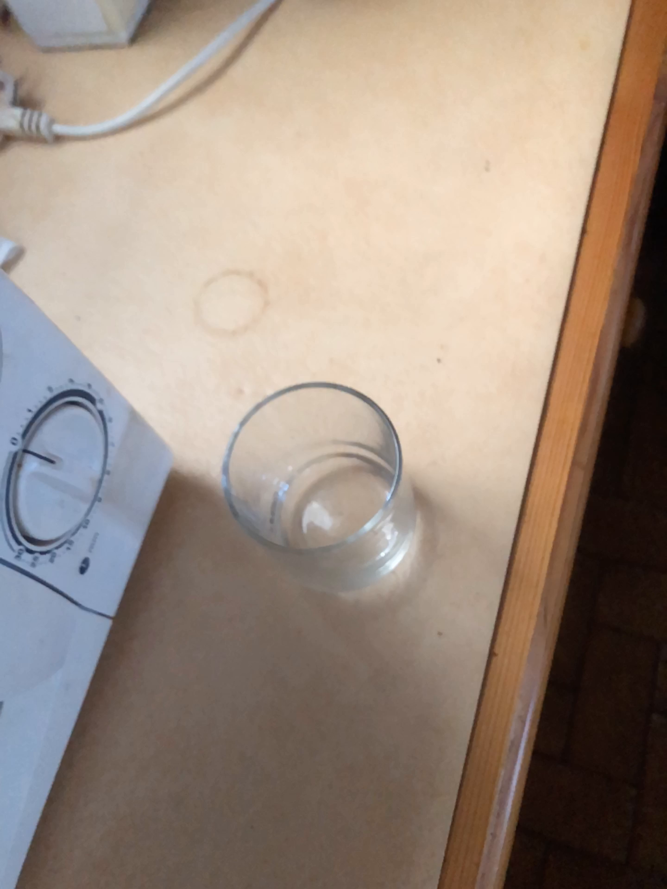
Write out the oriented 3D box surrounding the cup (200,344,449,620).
[{"bbox_3d":[-0.001,0.018,0.286,0.070,0.070,0.070,-3,68,8],"label":"cup"}]
